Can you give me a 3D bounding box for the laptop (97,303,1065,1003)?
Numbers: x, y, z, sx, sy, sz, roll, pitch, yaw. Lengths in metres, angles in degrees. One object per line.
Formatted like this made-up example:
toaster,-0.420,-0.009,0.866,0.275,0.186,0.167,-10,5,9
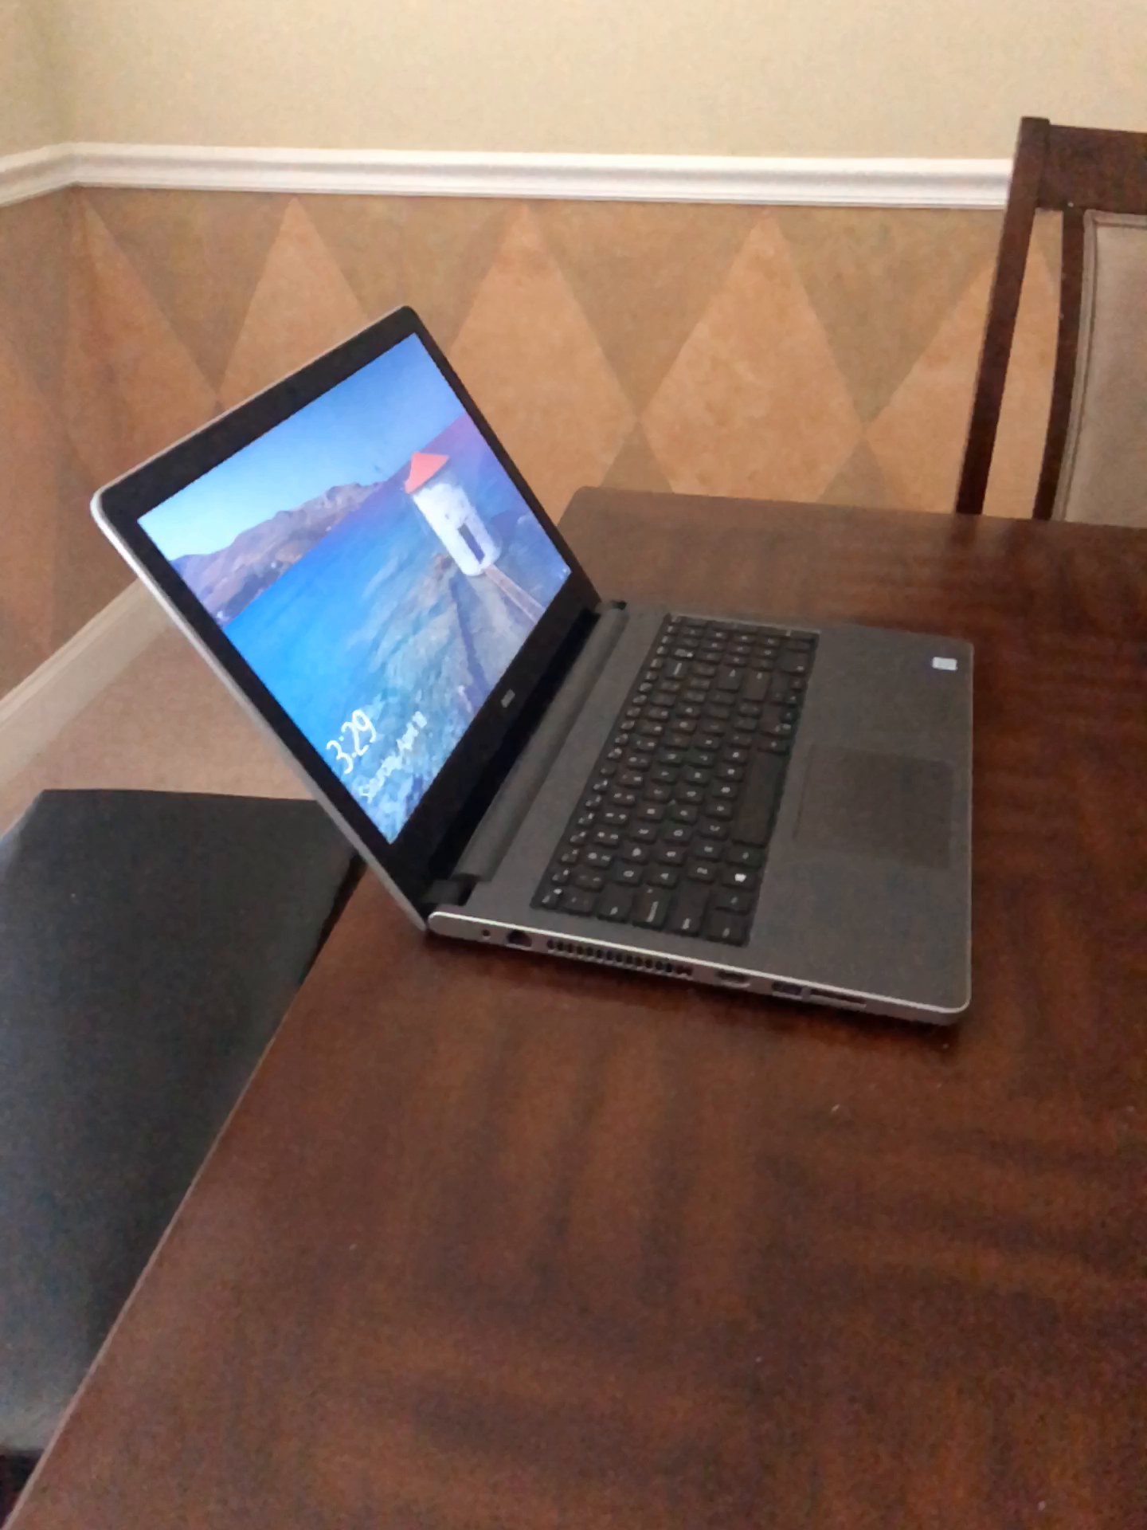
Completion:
laptop,0.035,-0.100,0.697,0.391,0.198,0.369,8,33,12
